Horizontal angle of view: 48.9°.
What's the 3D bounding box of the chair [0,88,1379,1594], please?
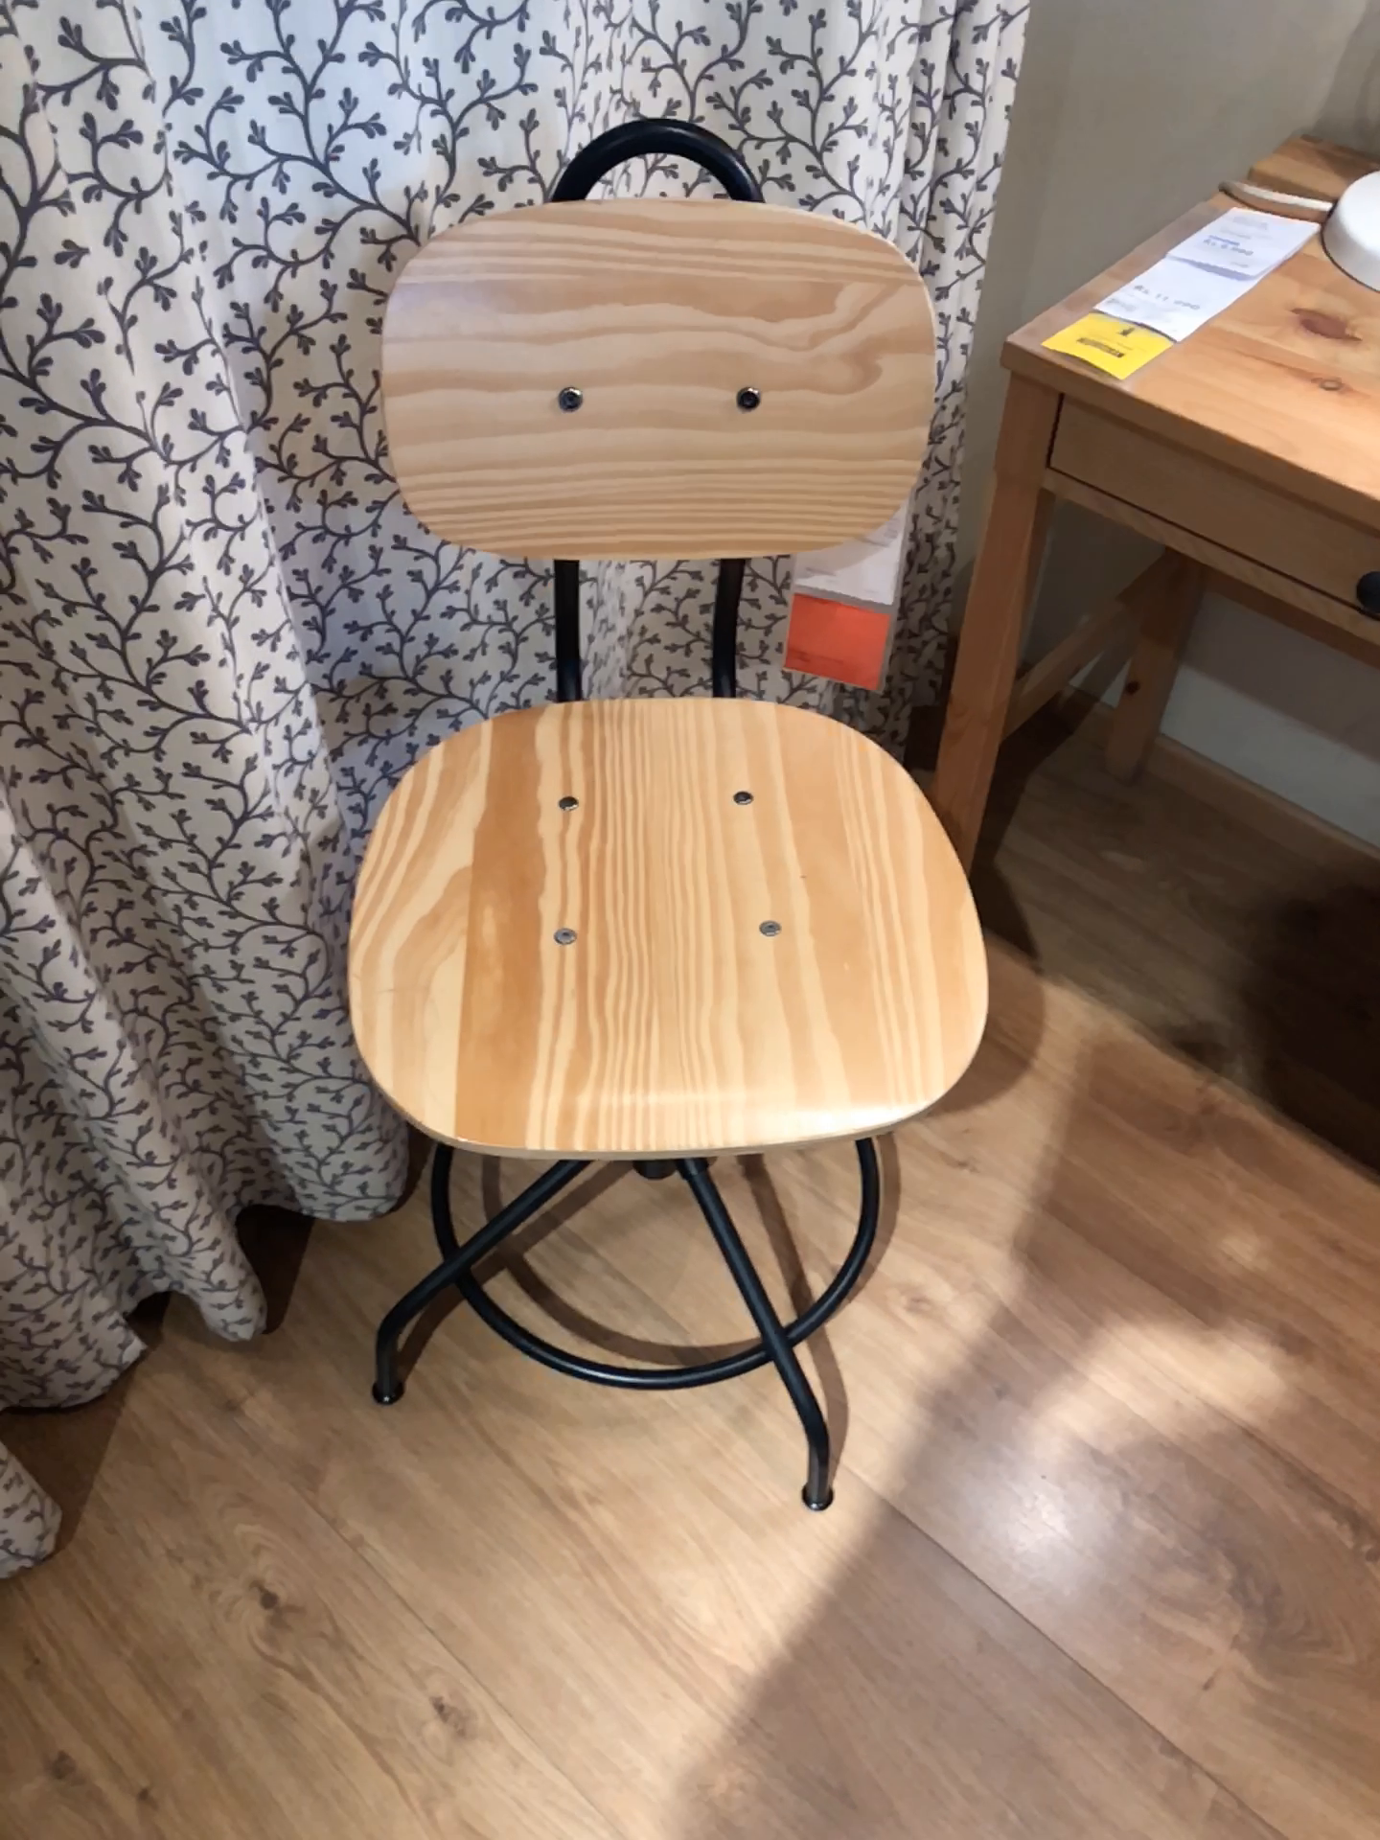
[{"bbox_3d":[-0.023,0.007,0.994,0.520,0.815,0.553,-3,50,-3],"label":"chair"}]
